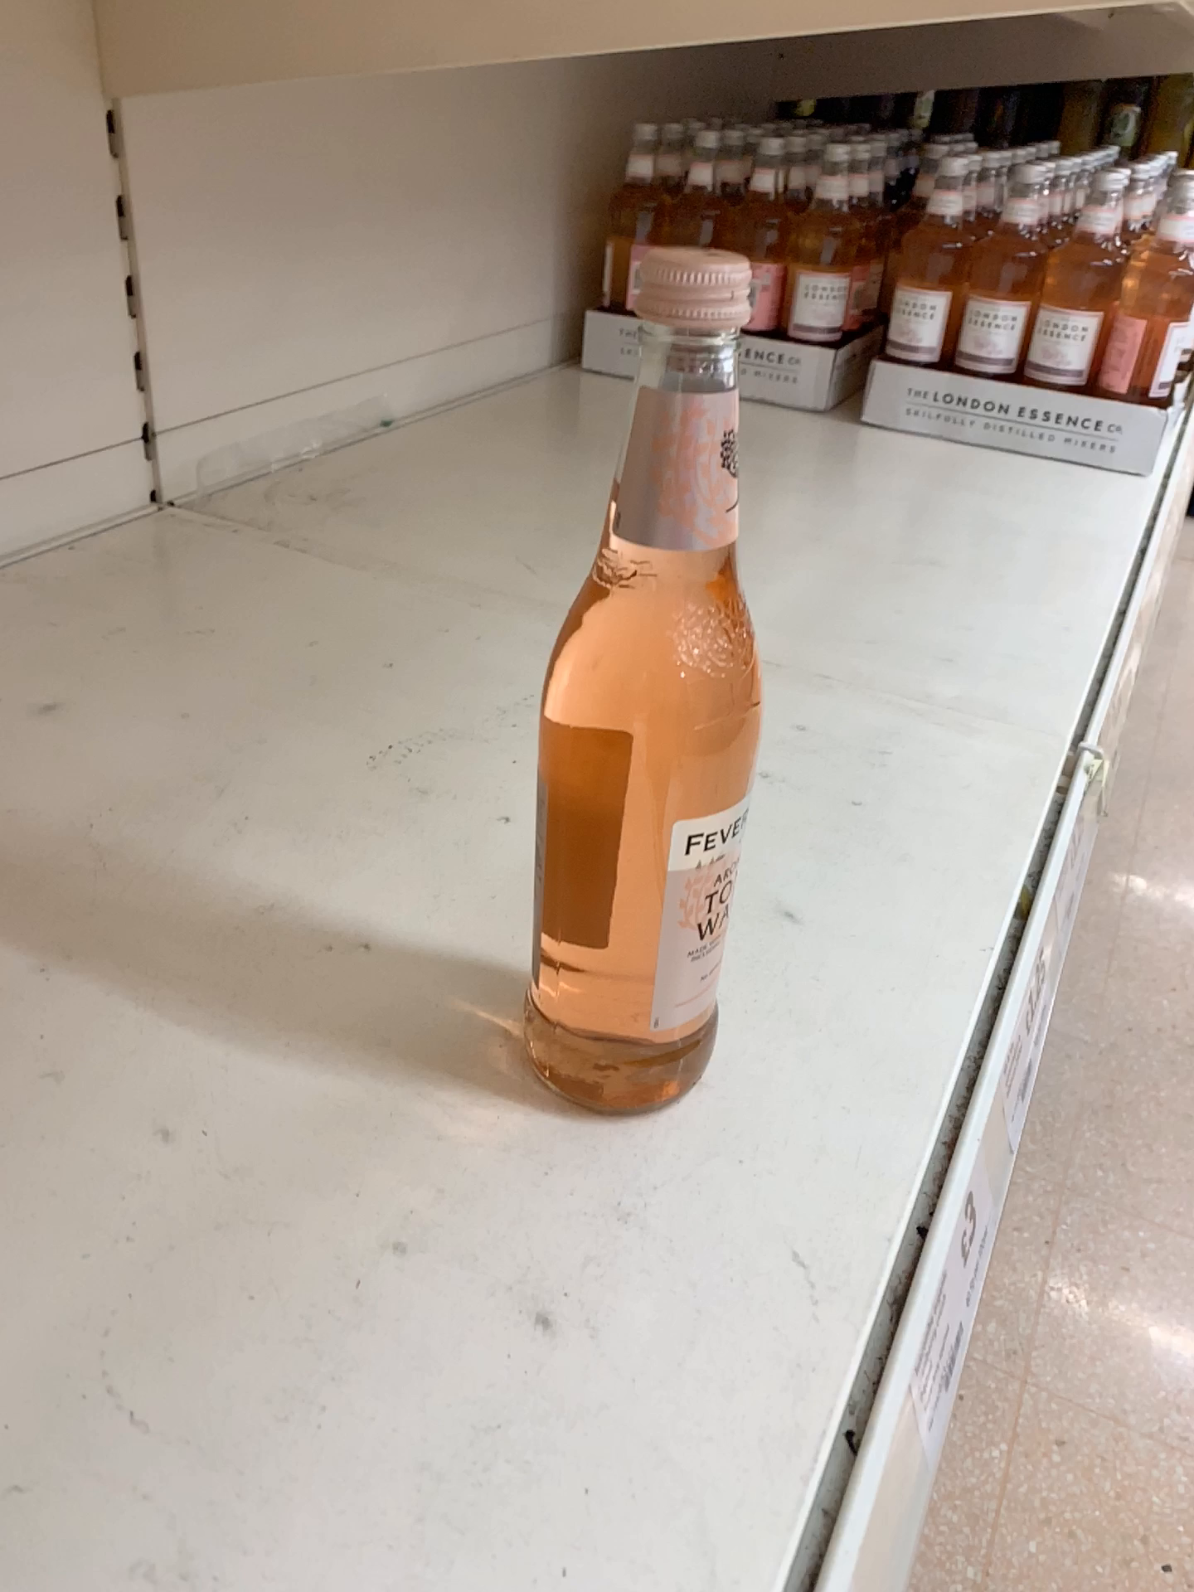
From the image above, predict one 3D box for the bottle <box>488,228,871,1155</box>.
[{"bbox_3d":[0.018,-0.022,0.363,0.067,0.254,0.078,14,32,15],"label":"bottle"}]
